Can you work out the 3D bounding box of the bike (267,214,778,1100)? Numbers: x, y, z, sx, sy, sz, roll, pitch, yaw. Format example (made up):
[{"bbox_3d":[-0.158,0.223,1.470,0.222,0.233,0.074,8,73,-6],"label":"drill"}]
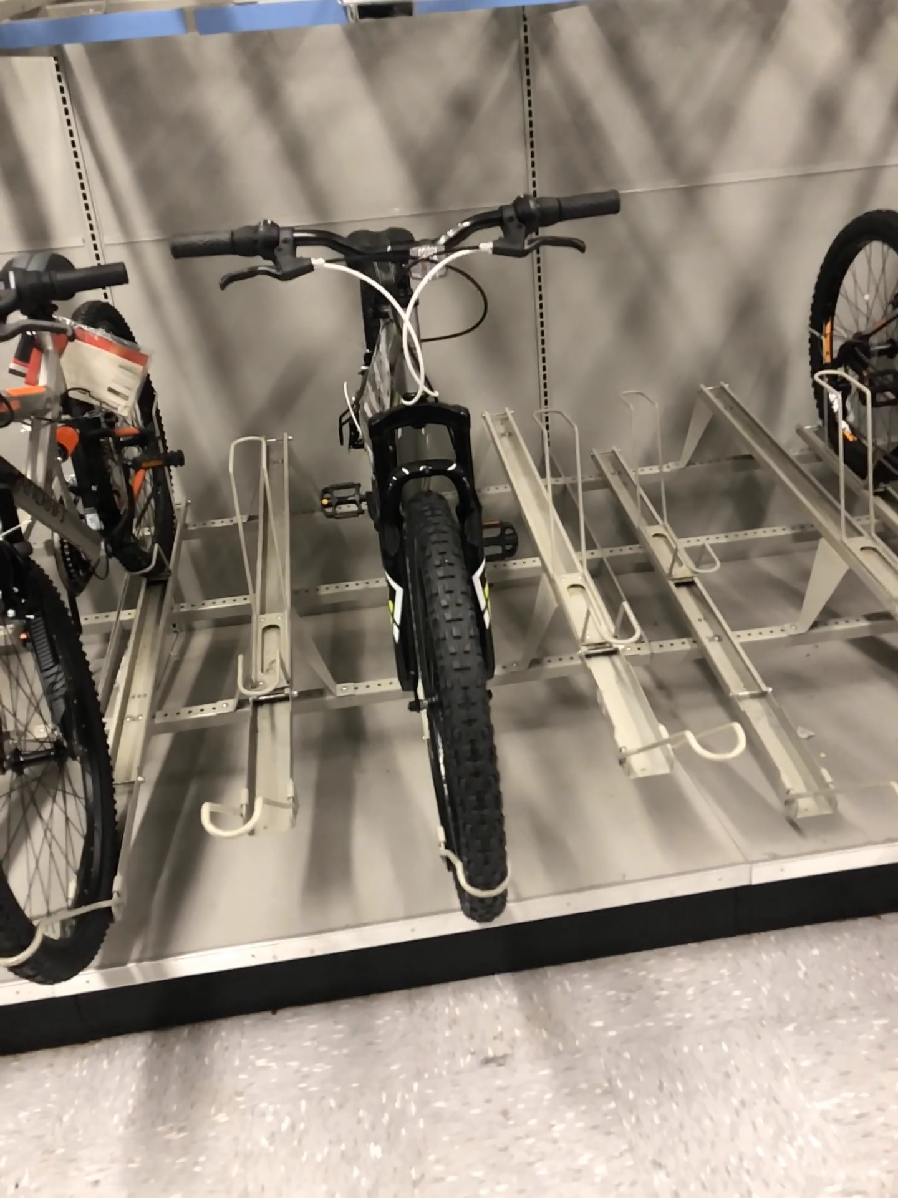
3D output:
[{"bbox_3d":[0.008,-0.147,1.988,0.607,0.728,1.727,-7,33,-4],"label":"bike"}]
